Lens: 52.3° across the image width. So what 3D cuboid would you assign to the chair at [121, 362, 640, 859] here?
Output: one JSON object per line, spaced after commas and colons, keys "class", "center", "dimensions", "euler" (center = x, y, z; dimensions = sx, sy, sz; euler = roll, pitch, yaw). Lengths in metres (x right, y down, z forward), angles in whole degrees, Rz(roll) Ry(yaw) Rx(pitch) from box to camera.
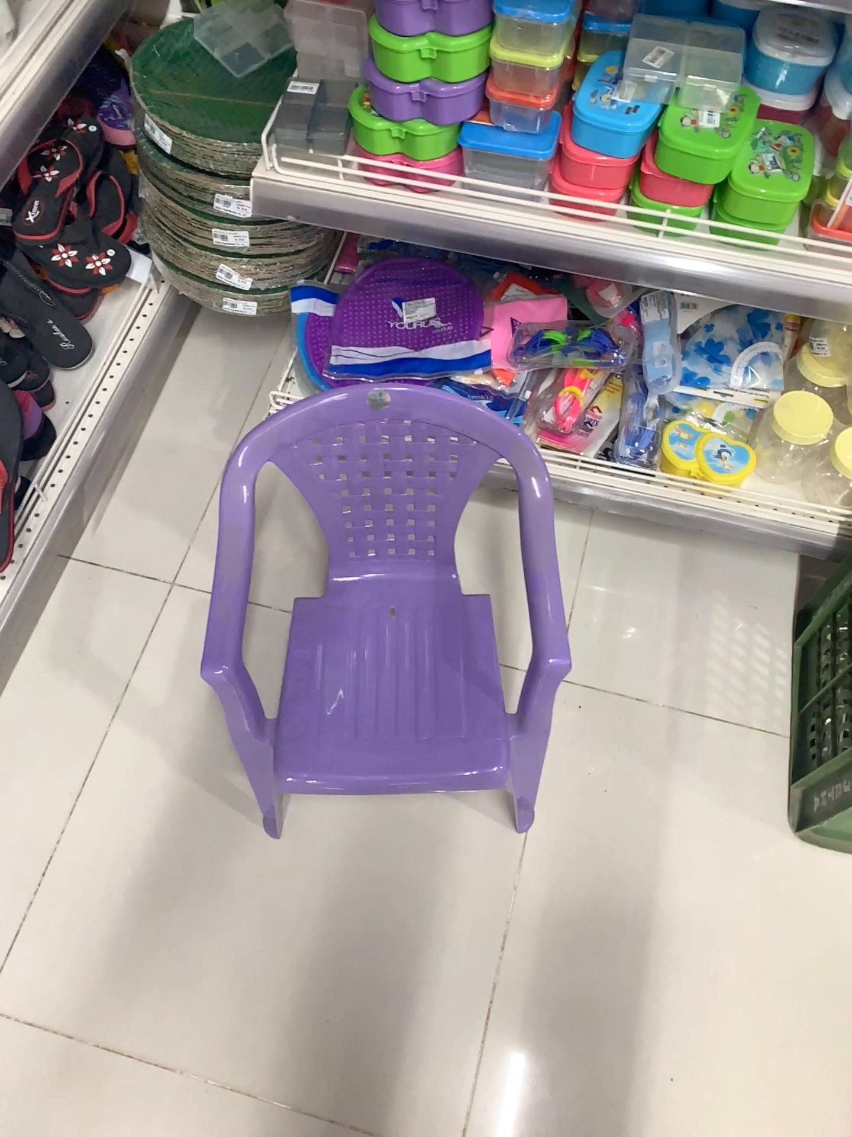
{"class": "chair", "center": [-0.044, 0.075, 0.984], "dimensions": [0.420, 0.429, 0.401], "euler": [-3, 63, -1]}
